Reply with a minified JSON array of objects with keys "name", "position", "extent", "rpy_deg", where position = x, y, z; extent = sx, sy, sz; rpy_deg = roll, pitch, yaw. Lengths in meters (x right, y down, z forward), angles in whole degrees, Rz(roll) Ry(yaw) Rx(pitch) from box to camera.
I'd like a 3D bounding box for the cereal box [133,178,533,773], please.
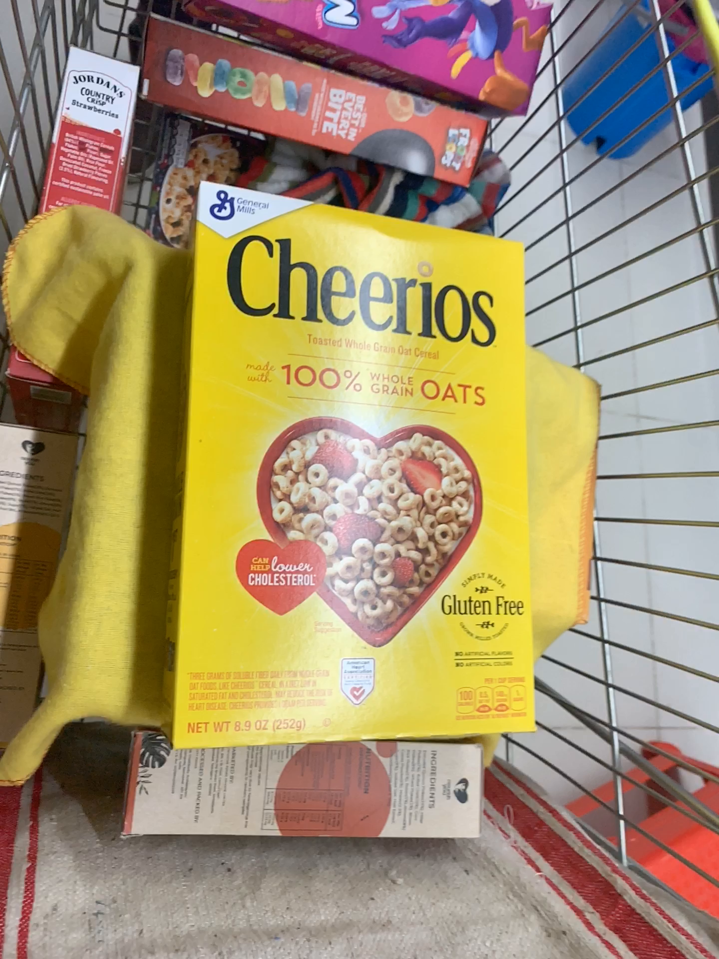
[{"name":"cereal box","position":[-0.011,0.000,0.390],"extent":[0.190,0.060,0.270],"rpy_deg":[4,81,-19]}]
